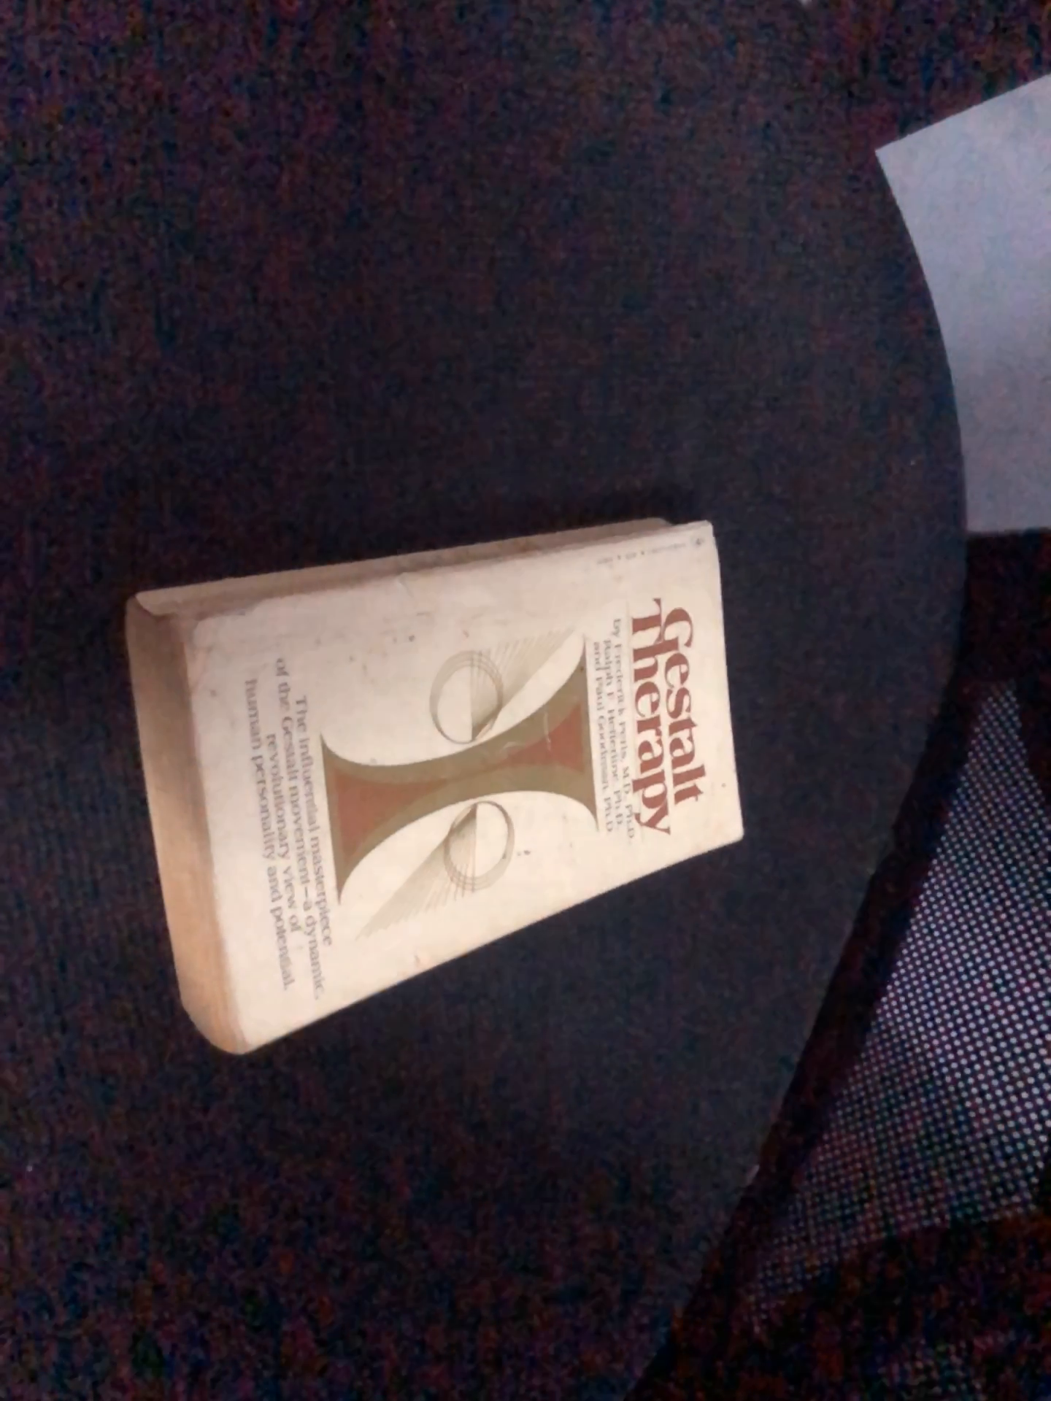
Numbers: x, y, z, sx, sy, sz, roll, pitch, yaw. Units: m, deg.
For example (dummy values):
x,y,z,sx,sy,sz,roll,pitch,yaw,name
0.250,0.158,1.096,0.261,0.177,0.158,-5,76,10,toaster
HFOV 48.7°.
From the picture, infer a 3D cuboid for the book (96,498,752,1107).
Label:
x,y,z,sx,sy,sz,roll,pitch,yaw,name
-0.012,0.014,0.323,0.183,0.034,0.120,-15,105,-39,book
